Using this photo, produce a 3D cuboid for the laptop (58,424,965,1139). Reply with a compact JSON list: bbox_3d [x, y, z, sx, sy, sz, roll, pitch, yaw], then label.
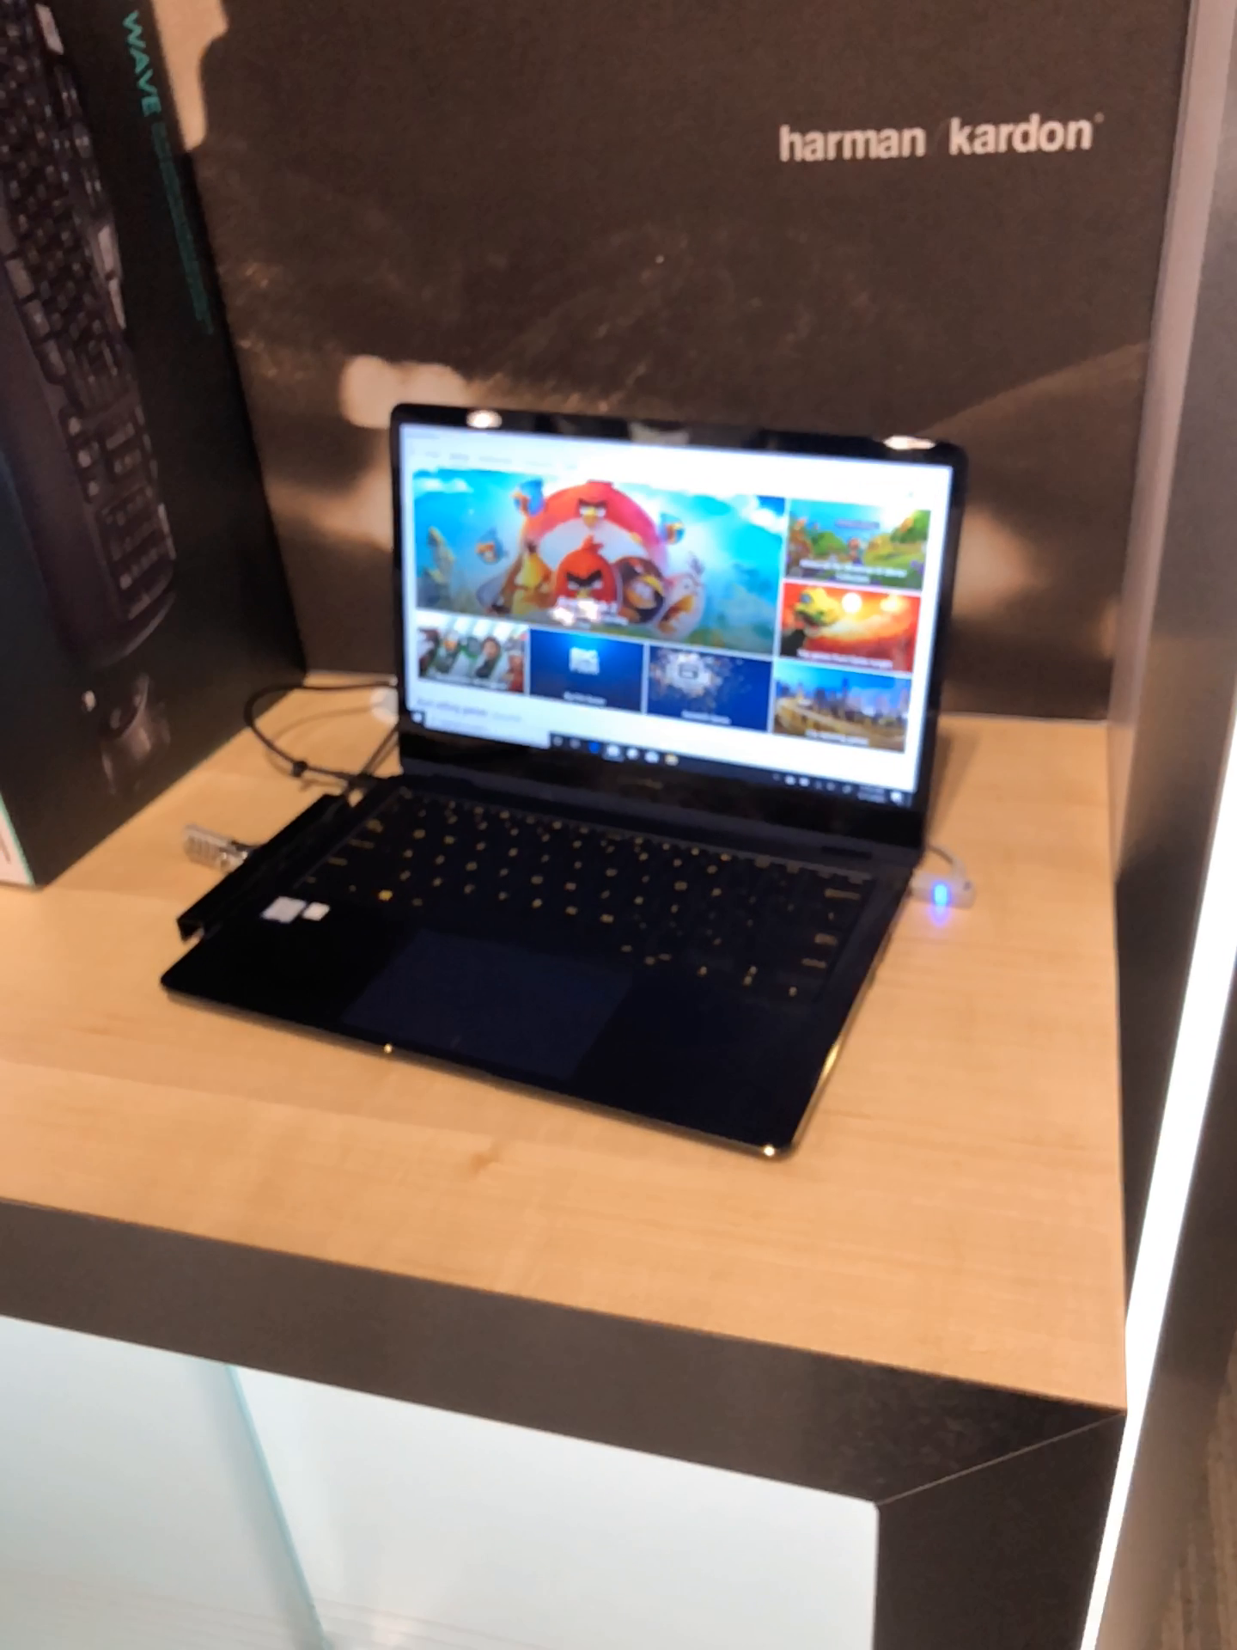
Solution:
[{"bbox_3d":[-0.025,-0.046,0.622,0.292,0.190,0.249,10,34,22],"label":"laptop"}]
